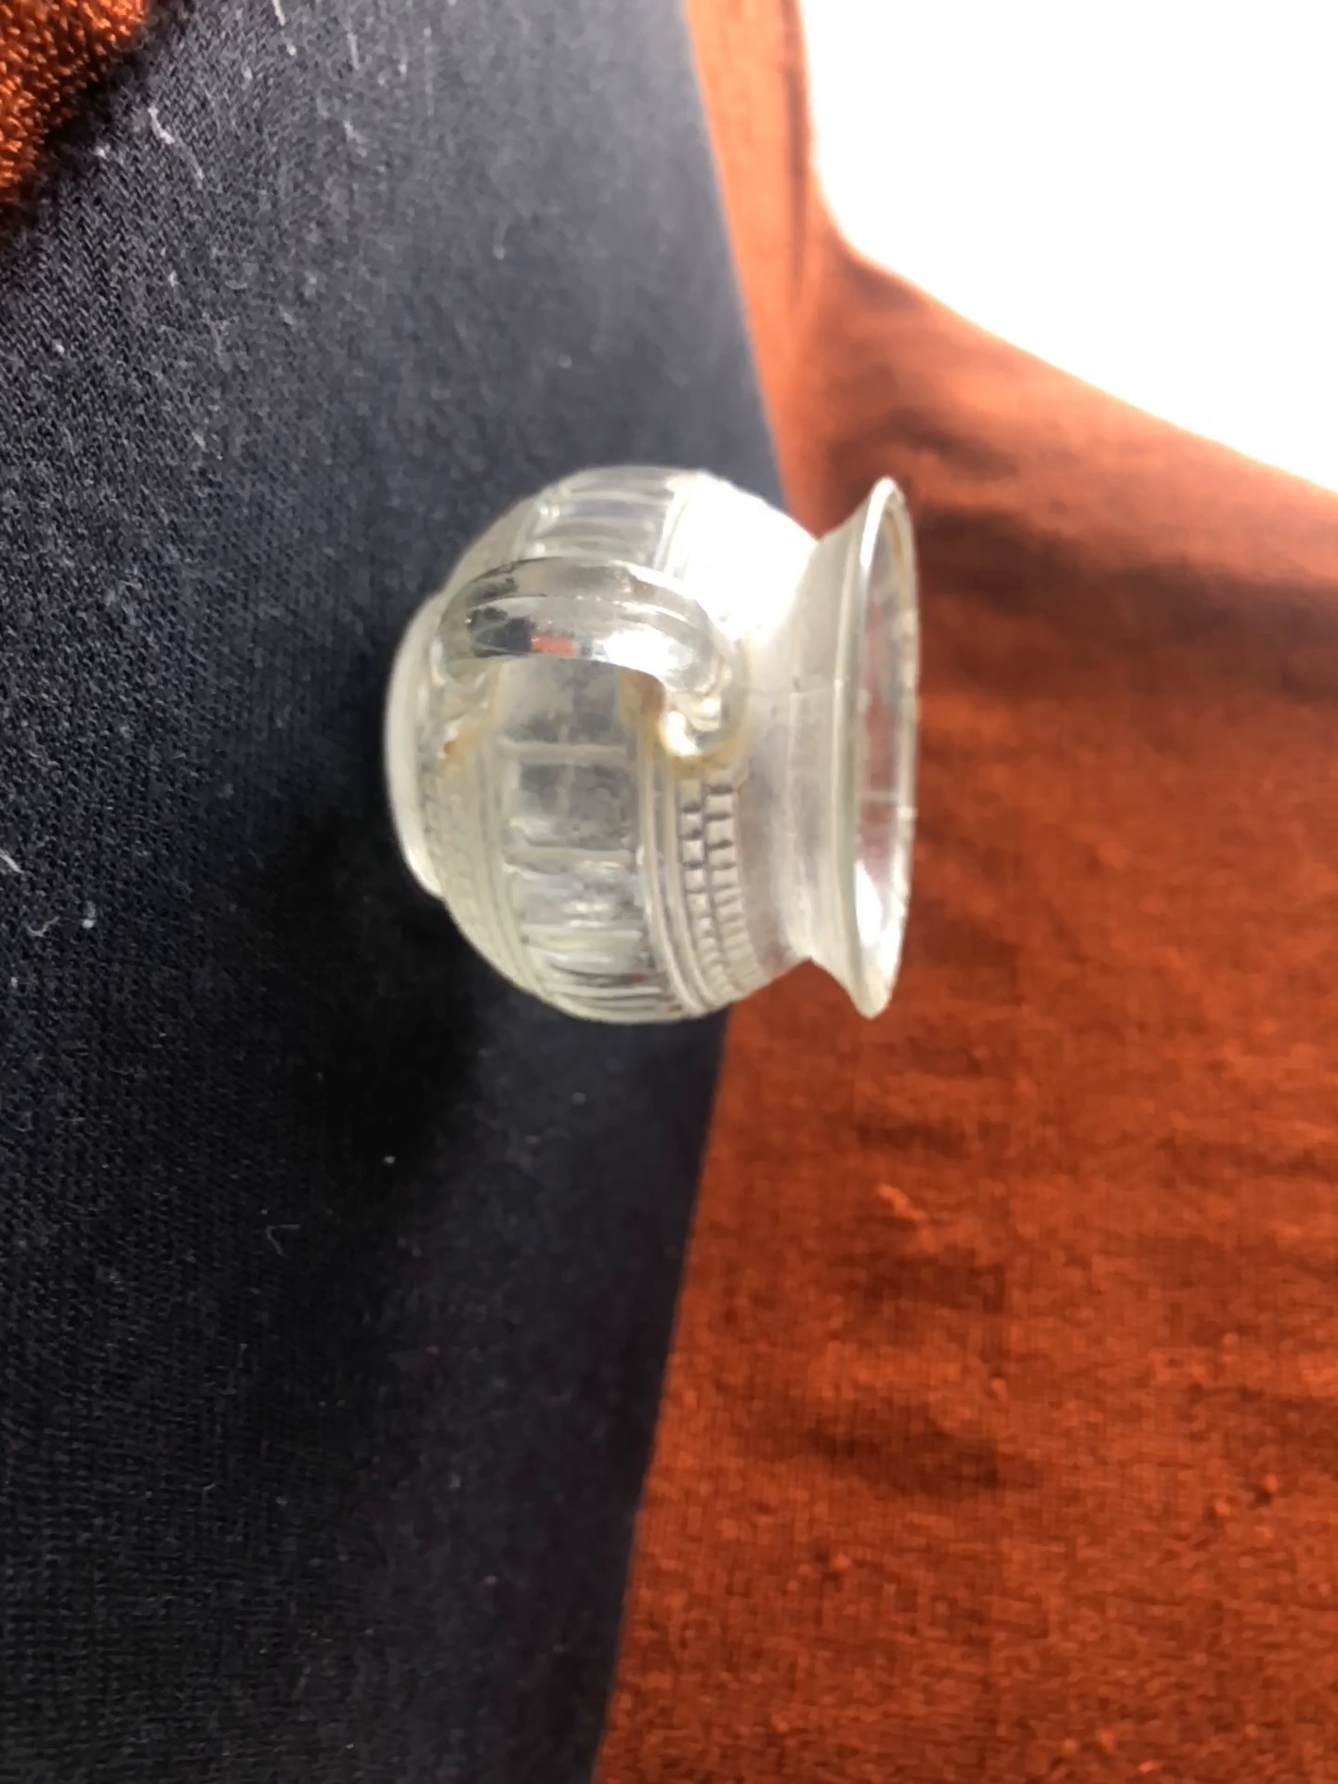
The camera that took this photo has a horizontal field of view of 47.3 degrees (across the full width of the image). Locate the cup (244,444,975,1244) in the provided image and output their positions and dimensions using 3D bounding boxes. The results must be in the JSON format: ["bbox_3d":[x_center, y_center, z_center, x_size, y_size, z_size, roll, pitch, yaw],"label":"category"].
[{"bbox_3d":[0.002,-0.011,0.182,0.090,0.060,0.070,-35,125,-72],"label":"cup"}]
